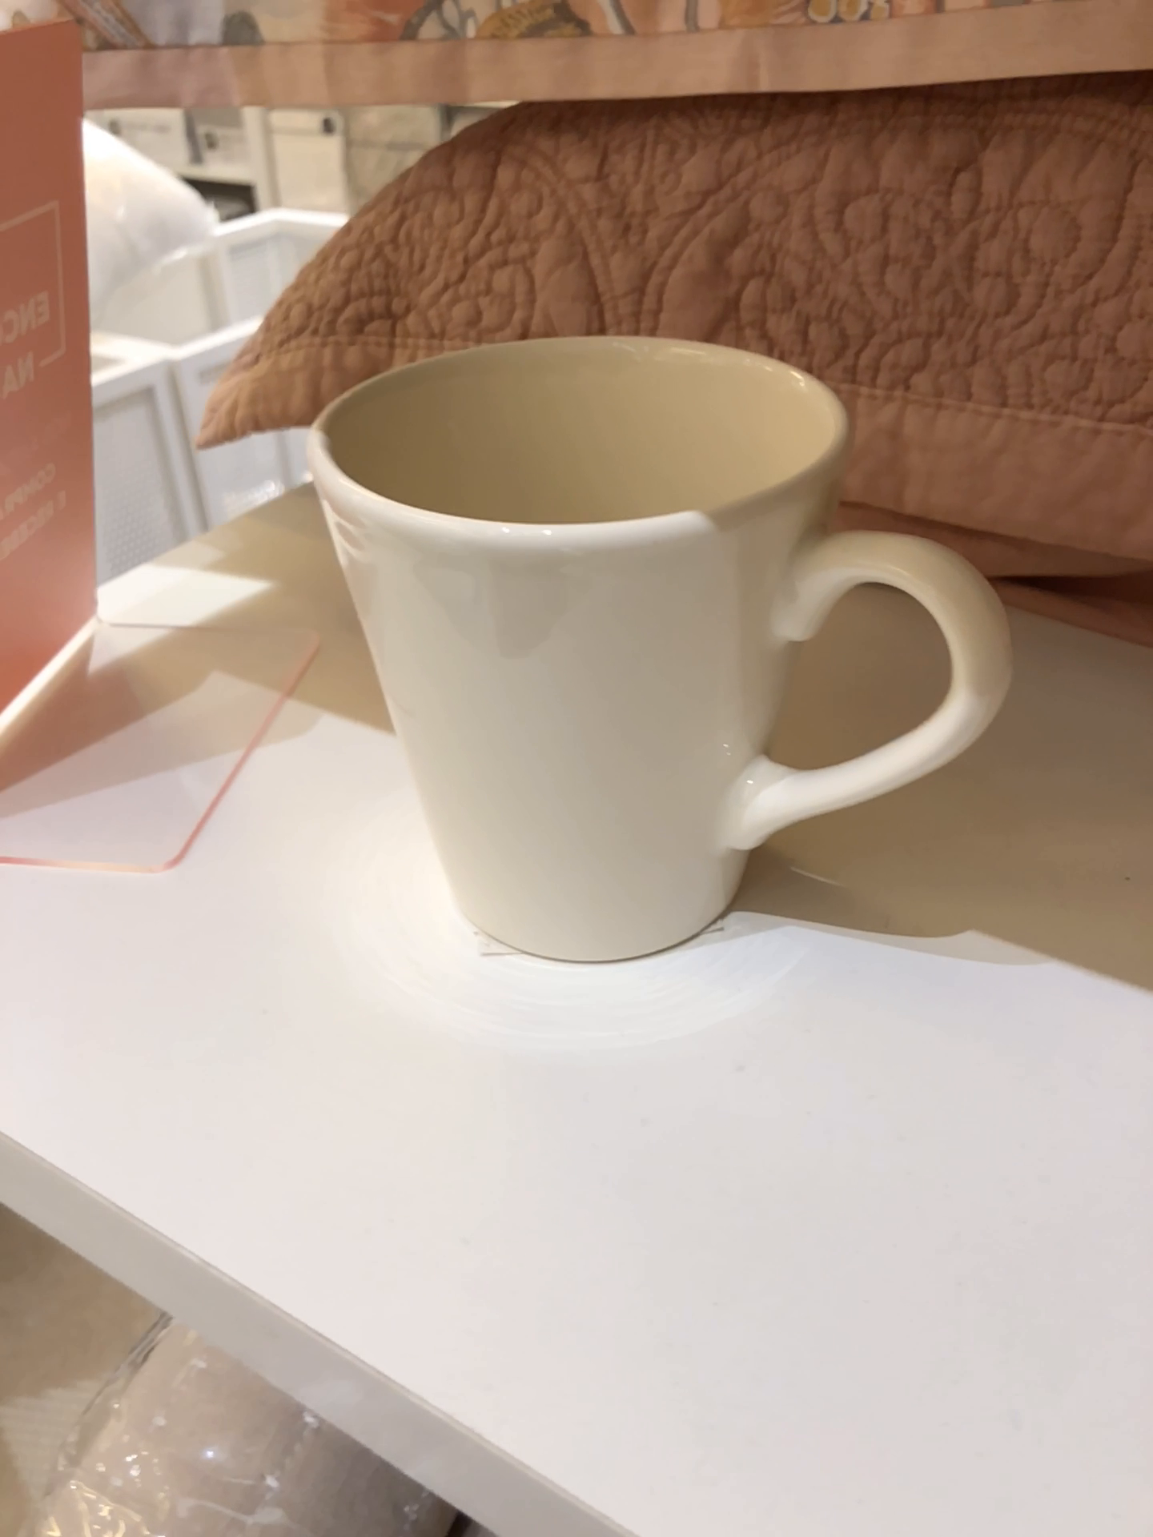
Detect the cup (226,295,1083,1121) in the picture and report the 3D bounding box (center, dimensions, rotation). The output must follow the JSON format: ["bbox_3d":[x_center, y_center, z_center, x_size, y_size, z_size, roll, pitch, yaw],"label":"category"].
[{"bbox_3d":[0.018,-0.017,0.224,0.110,0.099,0.081,11,36,19],"label":"cup"}]
